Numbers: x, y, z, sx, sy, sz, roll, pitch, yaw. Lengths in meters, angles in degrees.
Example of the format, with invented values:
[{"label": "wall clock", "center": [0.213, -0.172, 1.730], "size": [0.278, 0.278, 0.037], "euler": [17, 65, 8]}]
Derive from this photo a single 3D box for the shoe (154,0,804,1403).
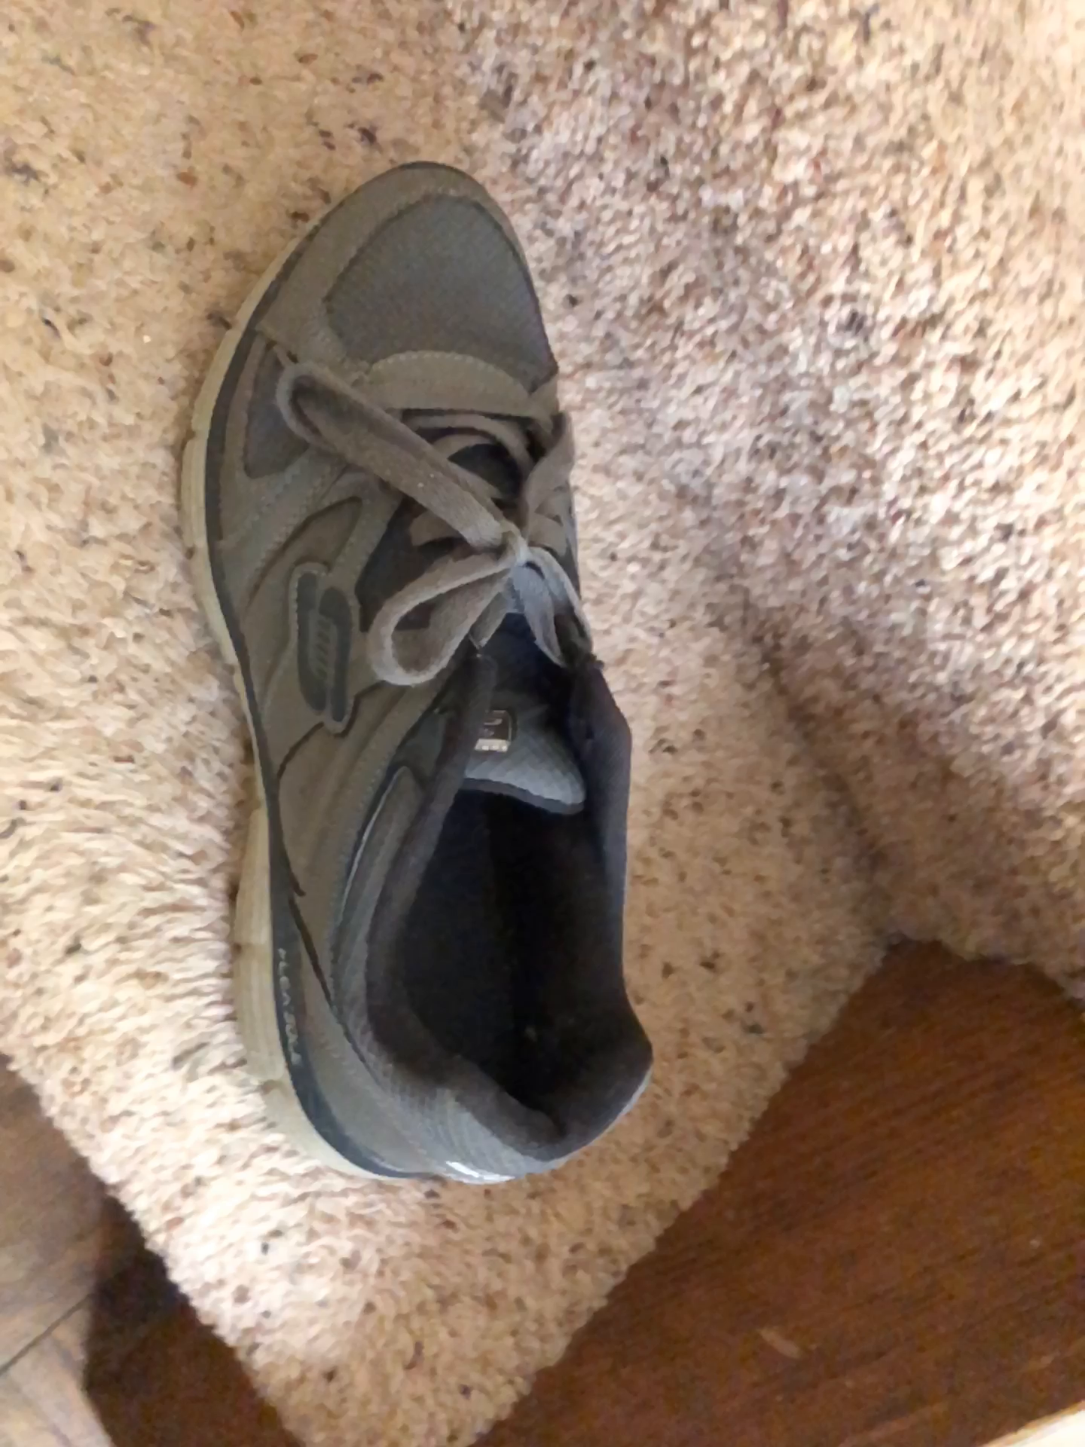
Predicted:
[{"label": "shoe", "center": [-0.026, -0.017, 0.323], "size": [0.111, 0.139, 0.300], "euler": [-1, 88, -33]}]
